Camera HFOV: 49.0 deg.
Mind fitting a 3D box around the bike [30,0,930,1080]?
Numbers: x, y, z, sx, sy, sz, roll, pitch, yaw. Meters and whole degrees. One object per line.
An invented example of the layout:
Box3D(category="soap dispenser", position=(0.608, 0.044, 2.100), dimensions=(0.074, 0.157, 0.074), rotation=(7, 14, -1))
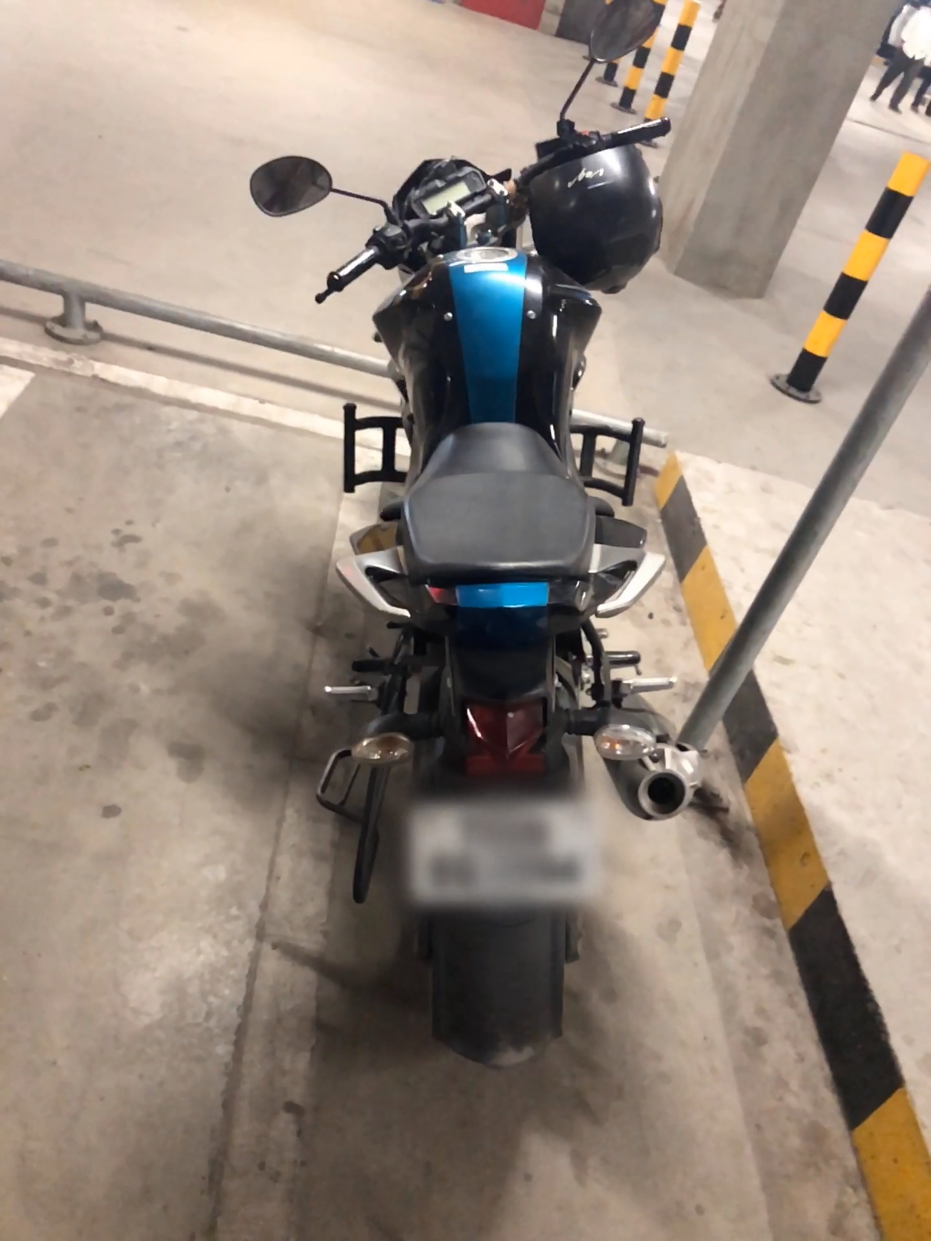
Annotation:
Box3D(category="bike", position=(-0.113, -0.251, 1.606), dimensions=(0.766, 0.951, 1.422), rotation=(9, 37, -14))
